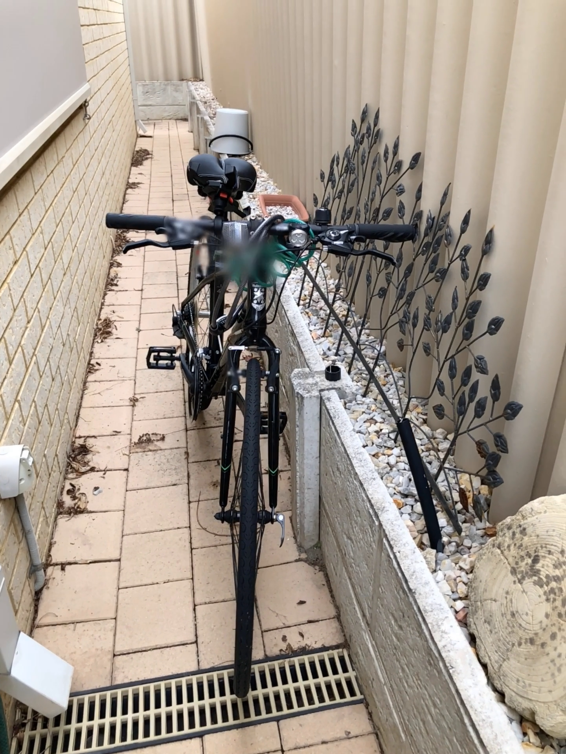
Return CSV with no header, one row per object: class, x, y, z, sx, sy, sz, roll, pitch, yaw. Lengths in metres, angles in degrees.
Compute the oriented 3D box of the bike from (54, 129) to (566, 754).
bike,-0.096,-0.096,1.688,0.638,0.859,1.707,-5,29,-9
